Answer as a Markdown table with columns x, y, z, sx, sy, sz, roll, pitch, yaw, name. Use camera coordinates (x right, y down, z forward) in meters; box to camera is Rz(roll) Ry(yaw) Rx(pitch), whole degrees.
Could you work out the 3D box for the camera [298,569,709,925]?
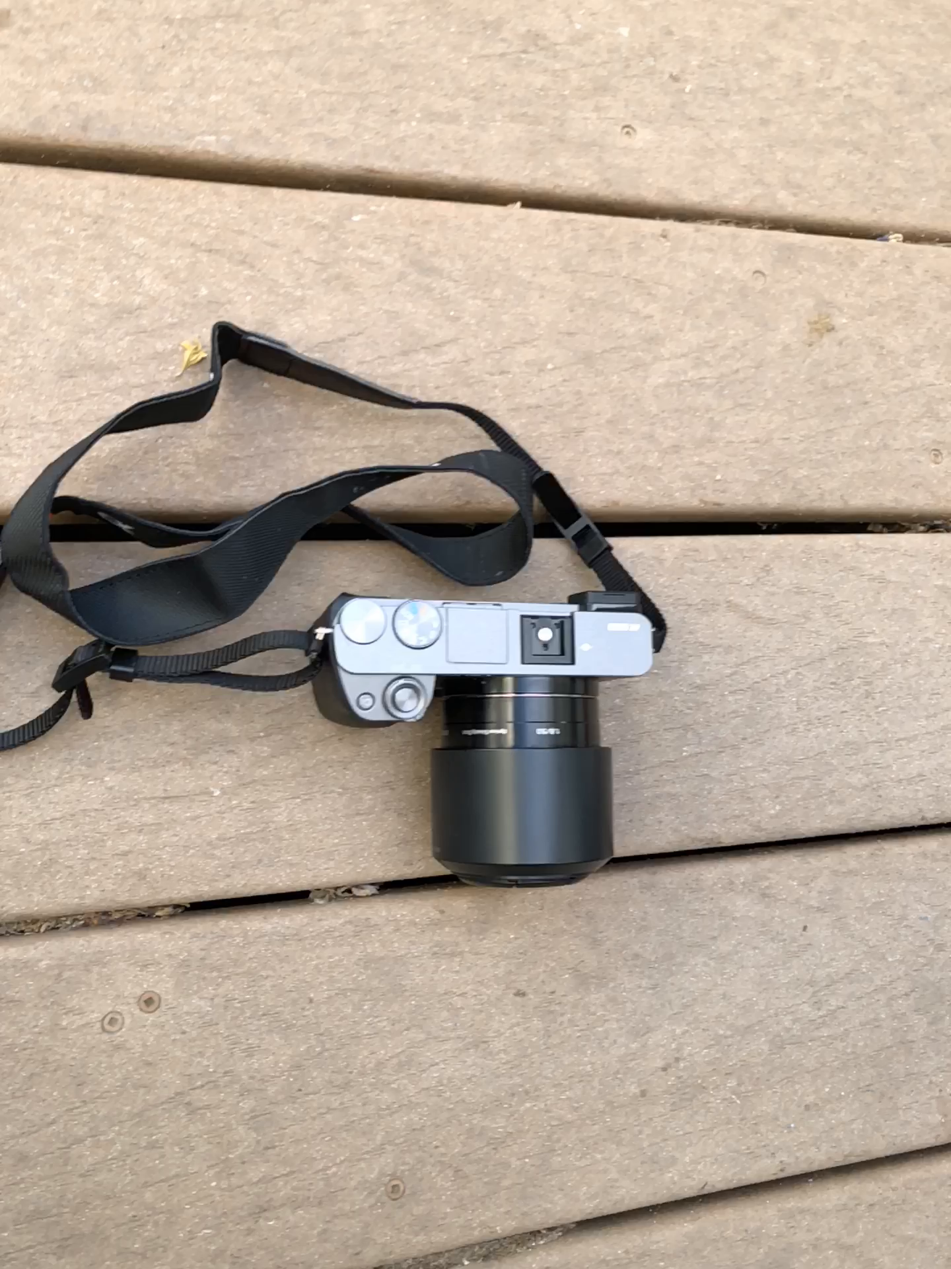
| x | y | z | sx | sy | sz | roll | pitch | yaw | name |
| --- | --- | --- | --- | --- | --- | --- | --- | --- | --- |
| 0.006 | 0.039 | 0.378 | 0.130 | 0.070 | 0.110 | 1 | 83 | -17 | camera |
